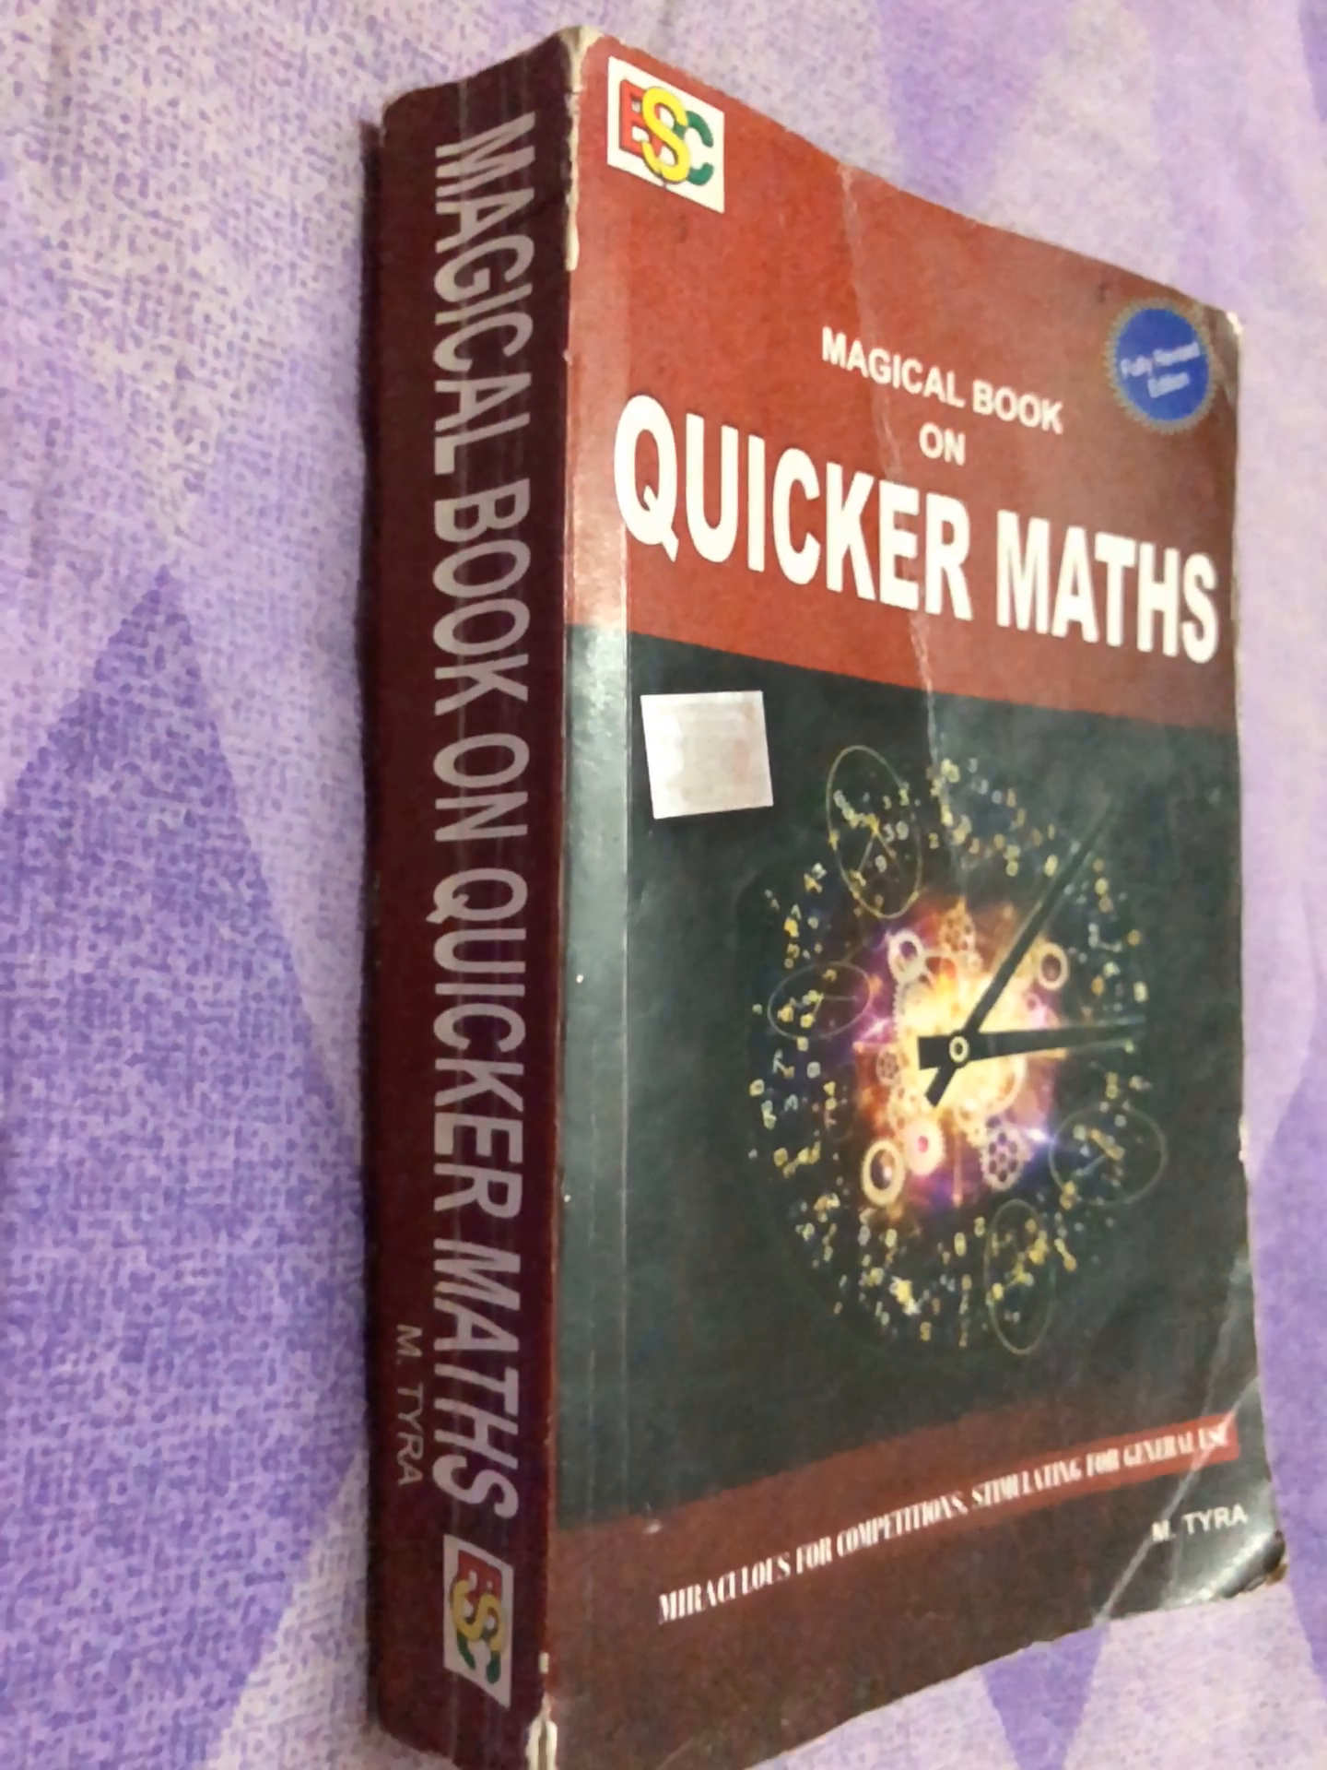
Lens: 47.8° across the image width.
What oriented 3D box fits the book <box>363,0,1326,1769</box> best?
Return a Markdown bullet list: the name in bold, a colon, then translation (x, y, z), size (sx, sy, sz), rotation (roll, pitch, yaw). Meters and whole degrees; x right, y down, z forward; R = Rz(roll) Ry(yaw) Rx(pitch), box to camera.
- **book**: translation (0.035, 0.005, 0.225), size (0.151, 0.050, 0.220), rotation (2, 85, -37)
